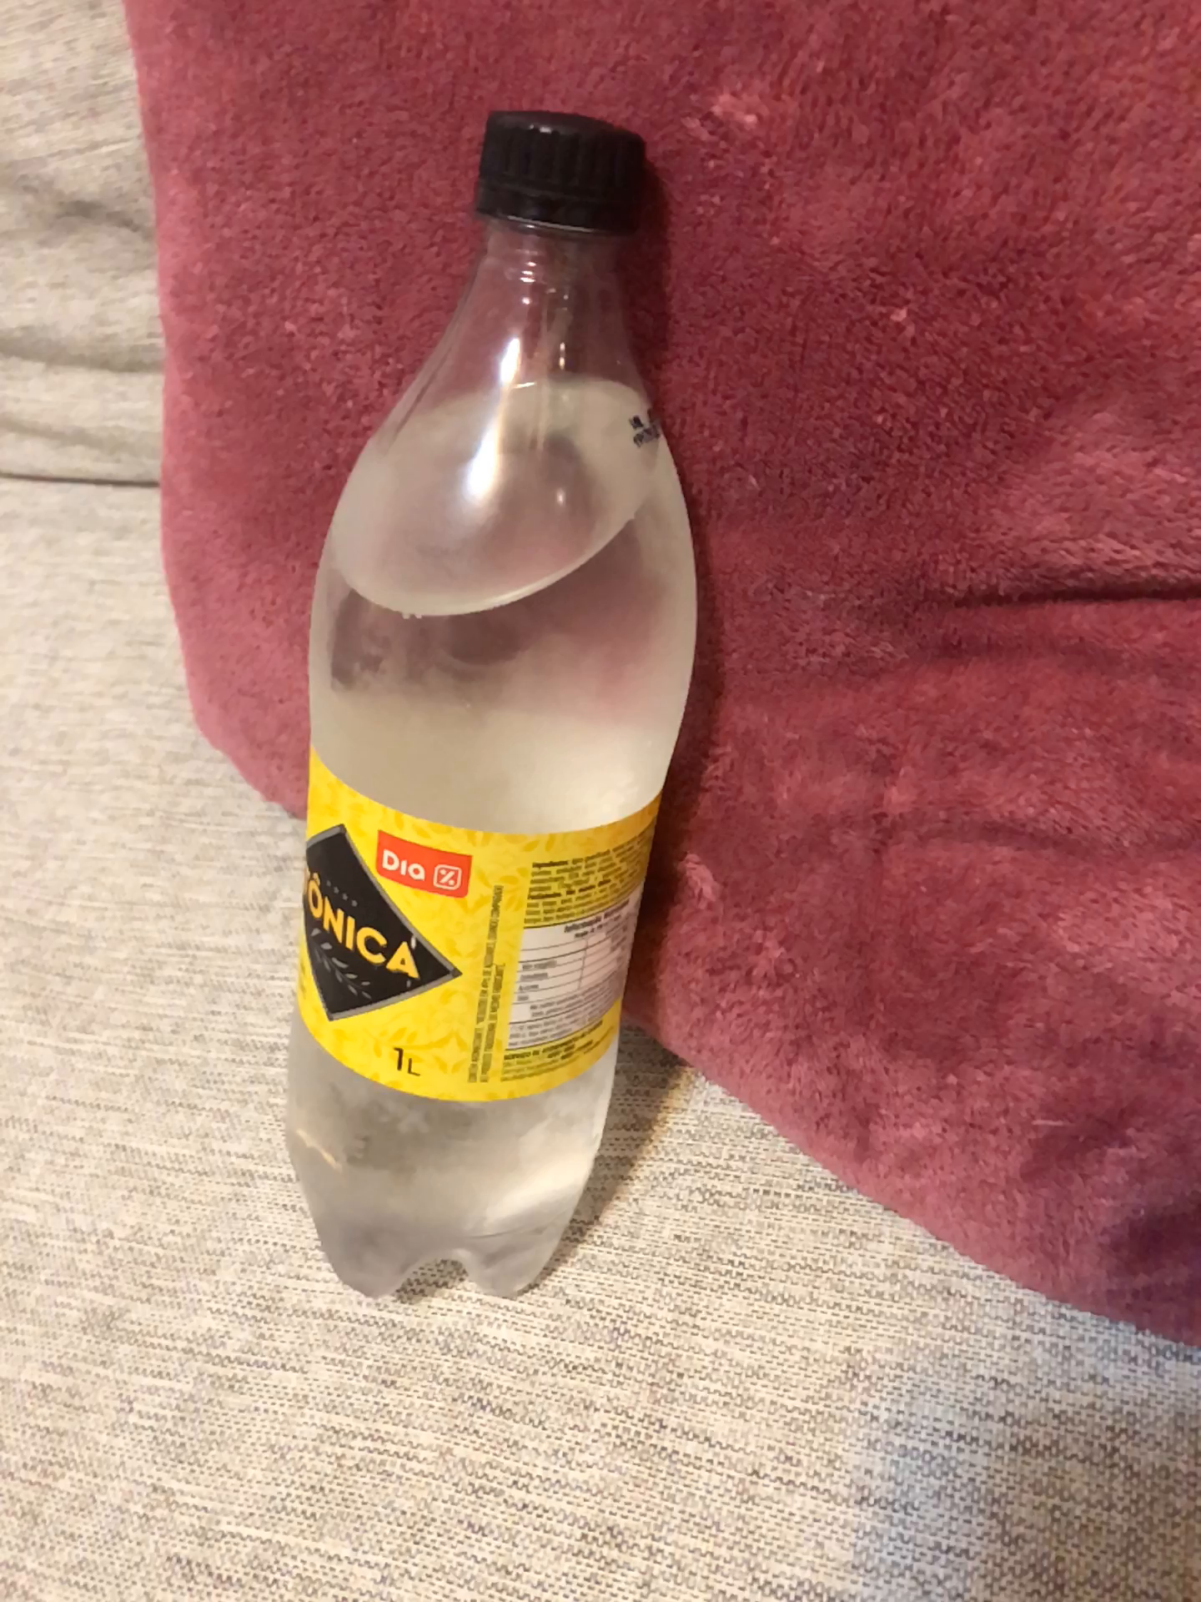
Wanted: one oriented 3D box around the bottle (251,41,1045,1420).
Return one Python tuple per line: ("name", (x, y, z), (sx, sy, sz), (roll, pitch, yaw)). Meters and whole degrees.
("bottle", (-0.006, -0.009, 0.305), (0.100, 0.269, 0.100), (7, 29, -4))
